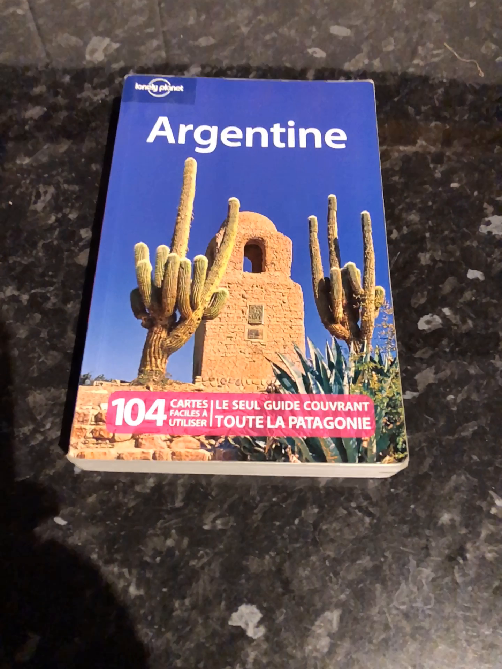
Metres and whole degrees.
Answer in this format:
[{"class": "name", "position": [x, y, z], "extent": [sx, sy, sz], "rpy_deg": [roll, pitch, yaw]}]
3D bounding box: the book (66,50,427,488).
[{"class": "book", "position": [0.001, -0.041, 0.256], "extent": [0.130, 0.030, 0.211], "rpy_deg": [2, 66, -1]}]
